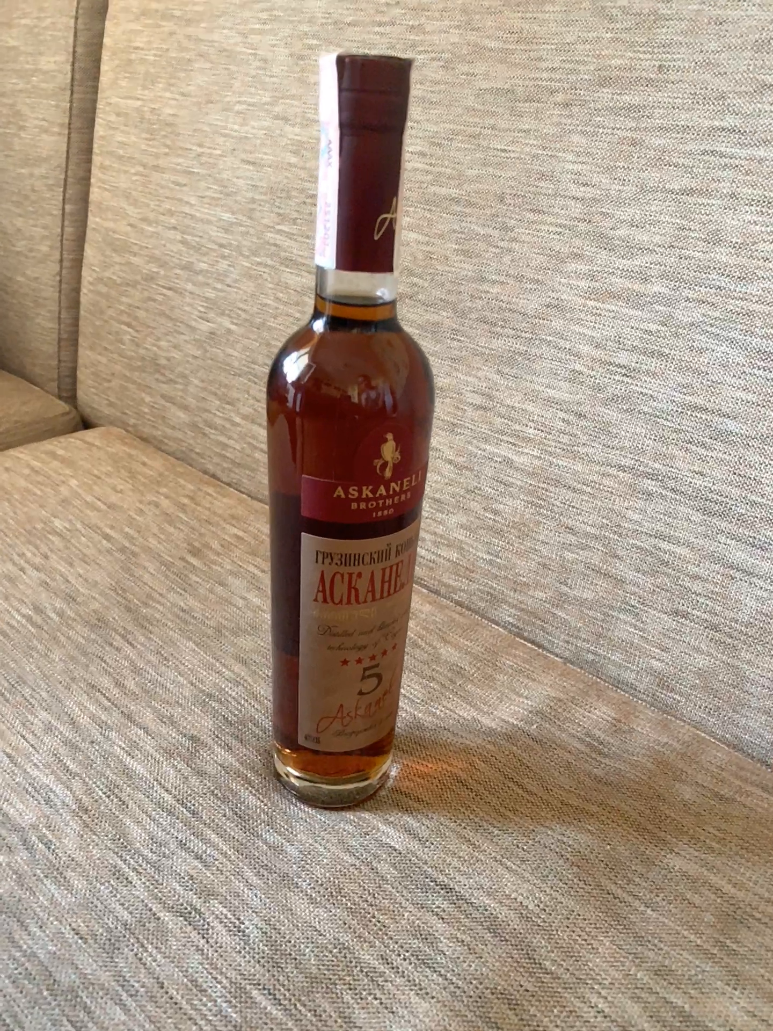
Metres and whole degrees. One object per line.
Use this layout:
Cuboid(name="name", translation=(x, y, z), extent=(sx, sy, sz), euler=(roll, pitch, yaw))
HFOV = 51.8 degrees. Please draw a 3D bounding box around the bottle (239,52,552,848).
Cuboid(name="bottle", translation=(-0.011, -0.011, 0.301), extent=(0.070, 0.279, 0.070), euler=(4, 27, -2))
